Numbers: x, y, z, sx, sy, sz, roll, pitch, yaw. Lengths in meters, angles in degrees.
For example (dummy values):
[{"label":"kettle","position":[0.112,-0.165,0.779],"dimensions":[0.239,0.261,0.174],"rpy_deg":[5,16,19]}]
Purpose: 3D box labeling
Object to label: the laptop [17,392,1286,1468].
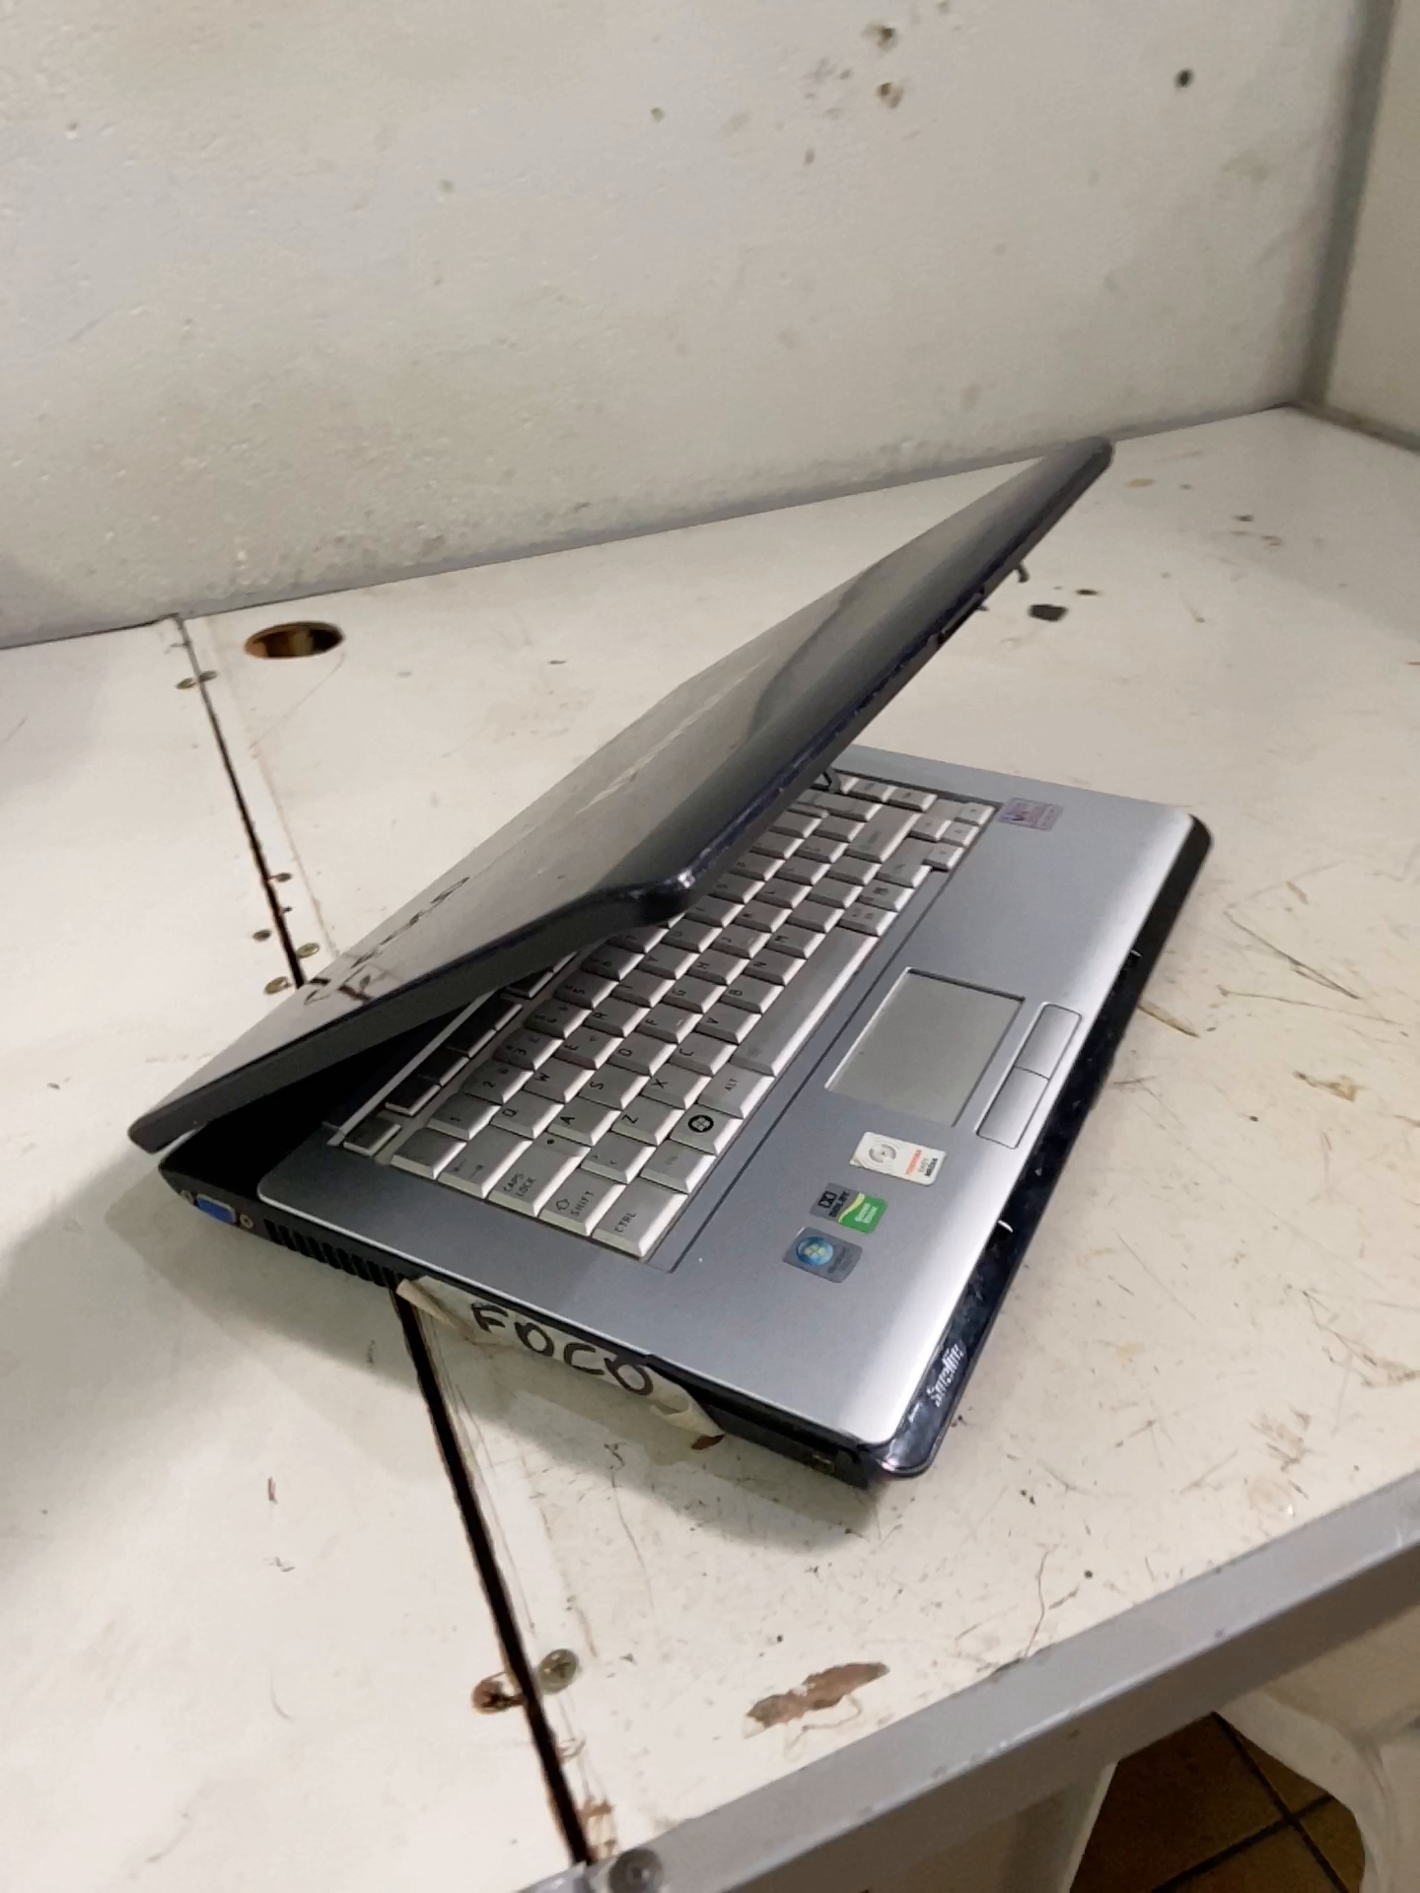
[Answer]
[{"label":"laptop","position":[0.015,-0.056,0.493],"dimensions":[0.258,0.152,0.347],"rpy_deg":[15,38,24]}]
